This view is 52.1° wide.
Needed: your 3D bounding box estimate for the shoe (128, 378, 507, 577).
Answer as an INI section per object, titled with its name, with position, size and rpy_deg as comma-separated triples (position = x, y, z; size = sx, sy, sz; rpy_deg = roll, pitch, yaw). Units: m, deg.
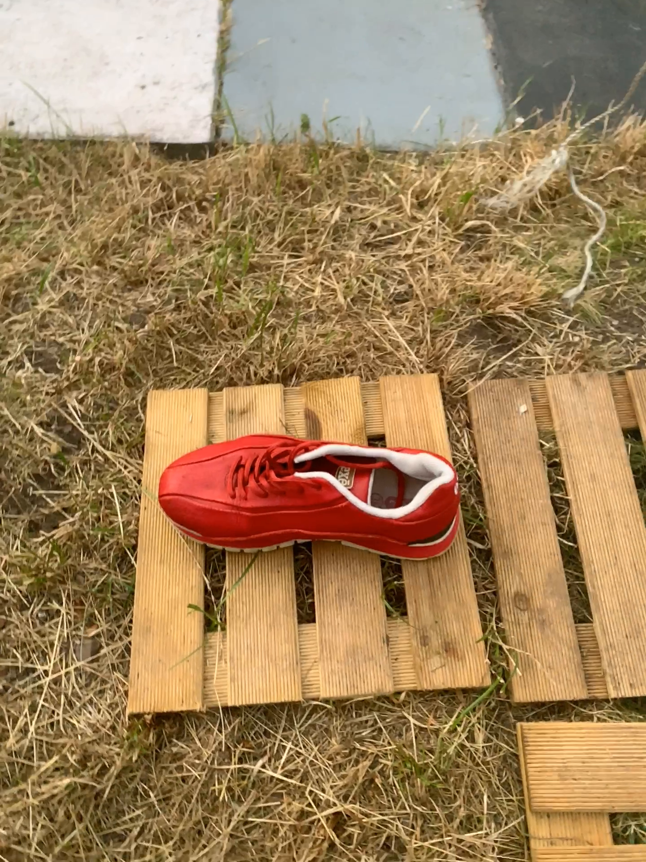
[shoe]
position = -0.004, 0.046, 0.567
size = 0.280, 0.129, 0.101
rpy_deg = 6, 63, -2
